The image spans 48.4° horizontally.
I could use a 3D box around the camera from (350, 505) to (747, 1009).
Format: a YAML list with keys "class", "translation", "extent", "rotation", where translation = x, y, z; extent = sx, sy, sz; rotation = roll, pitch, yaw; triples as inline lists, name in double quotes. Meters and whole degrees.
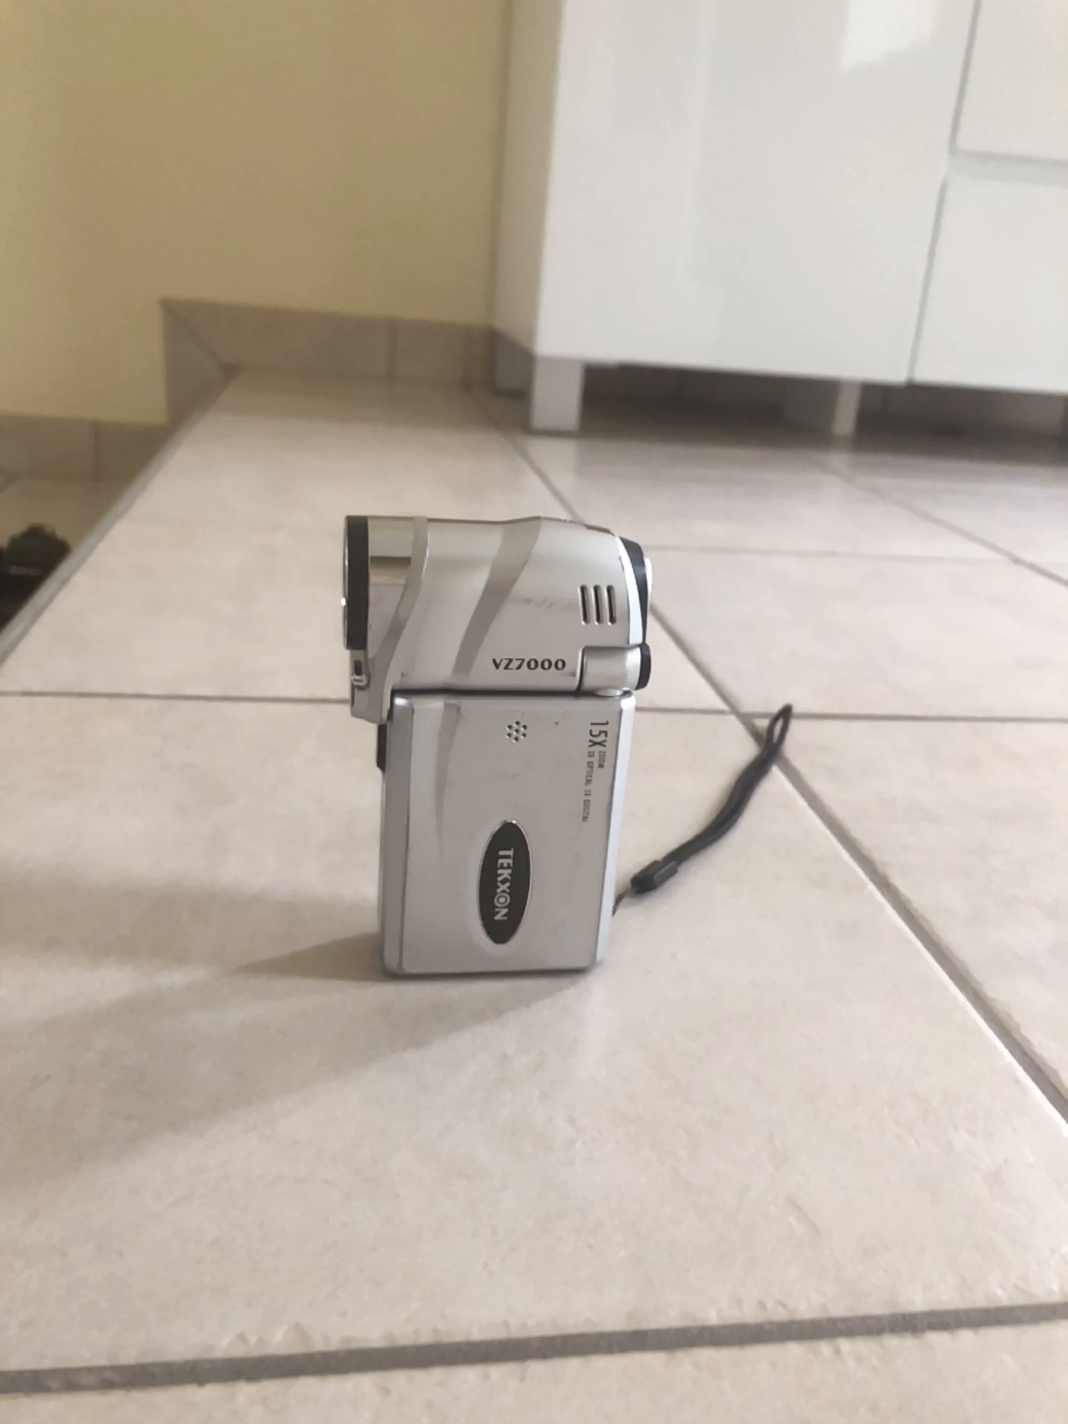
- class: "camera"
  translation: [-0.001, 0.011, 0.283]
  extent: [0.080, 0.109, 0.040]
  rotation: [1, 20, -11]
